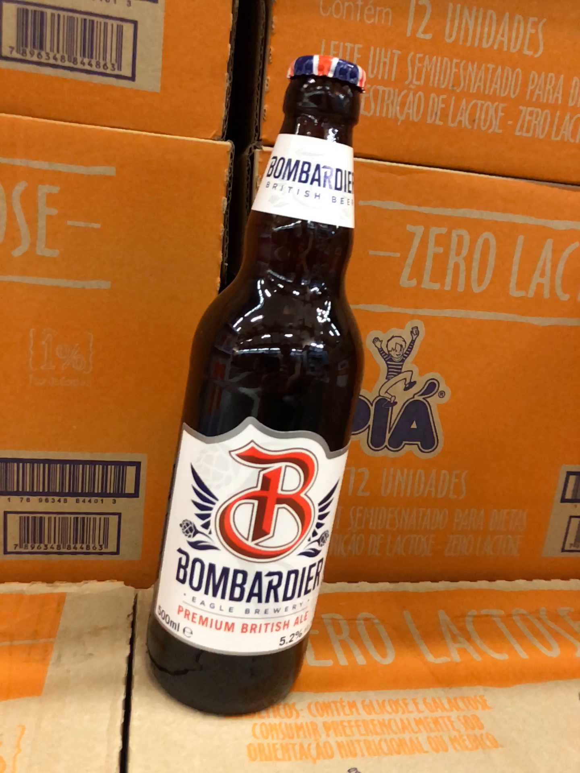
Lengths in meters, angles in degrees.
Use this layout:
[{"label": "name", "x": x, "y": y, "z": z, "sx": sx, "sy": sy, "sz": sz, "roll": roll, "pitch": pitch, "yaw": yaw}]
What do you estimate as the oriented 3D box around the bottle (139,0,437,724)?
[{"label": "bottle", "x": -0.010, "y": -0.002, "z": 0.252, "sx": 0.070, "sy": 0.259, "sz": 0.060, "roll": 6, "pitch": 12, "yaw": -11}]
